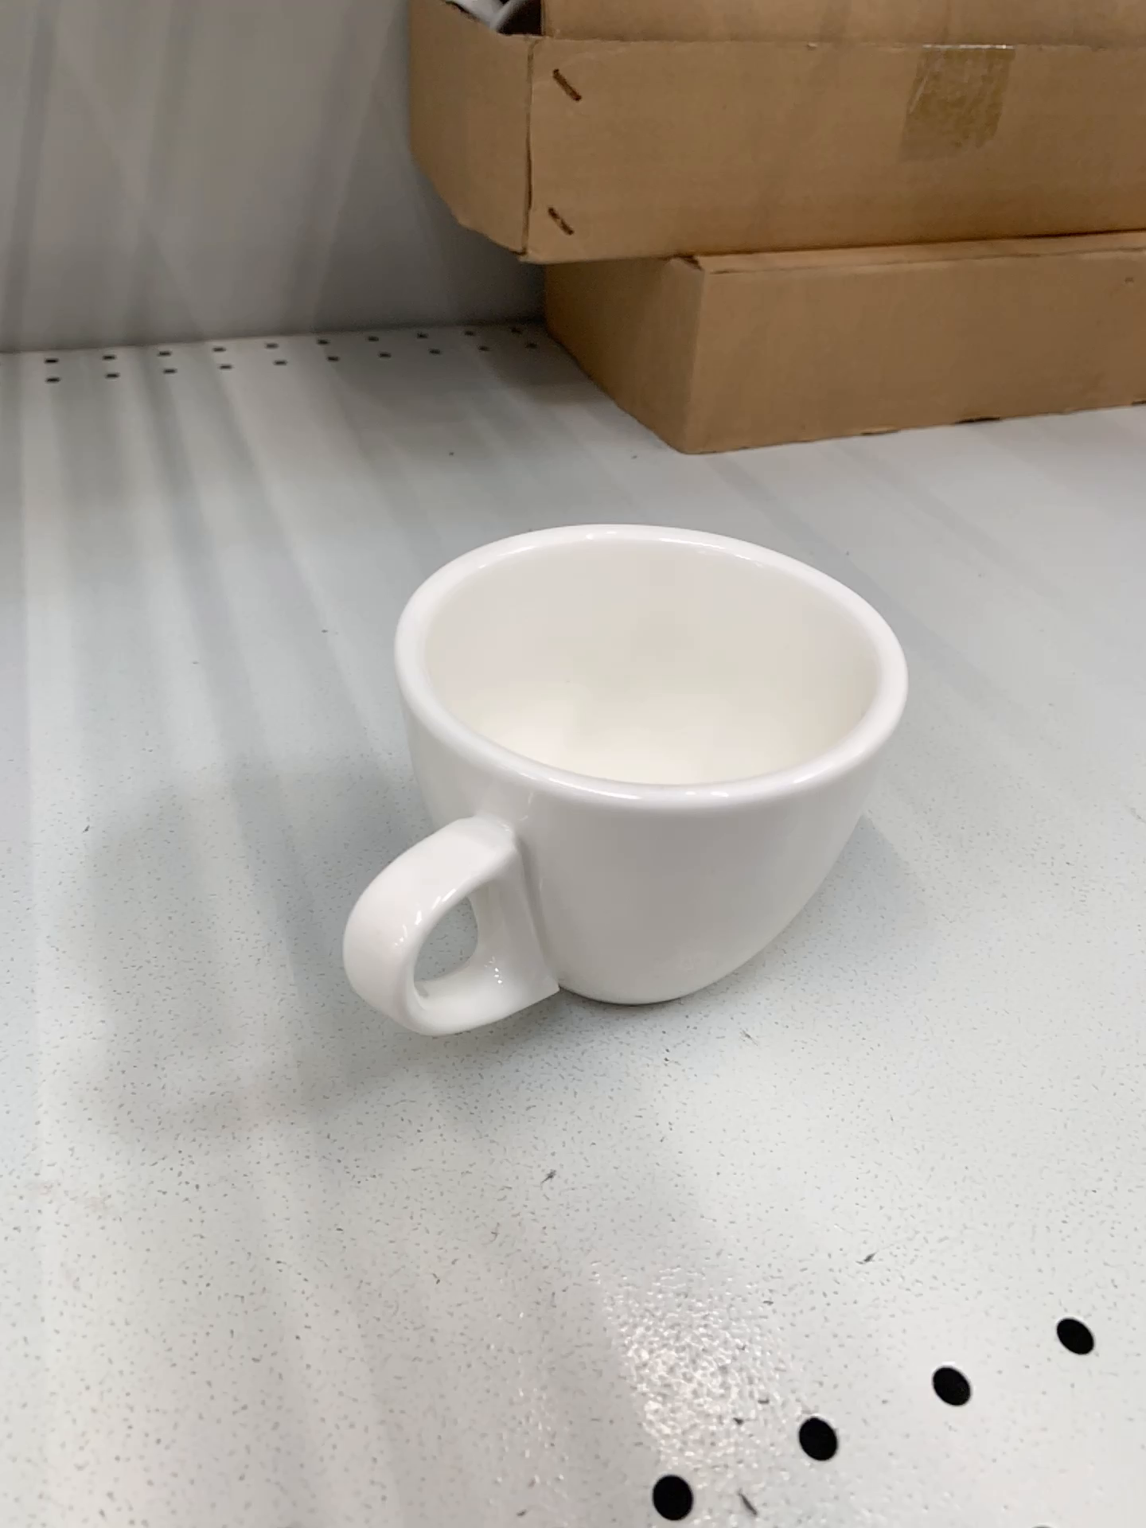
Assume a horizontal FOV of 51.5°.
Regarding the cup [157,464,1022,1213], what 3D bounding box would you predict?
[{"bbox_3d":[0.006,0.000,0.238,0.132,0.062,0.095,-28,47,-35],"label":"cup"}]
